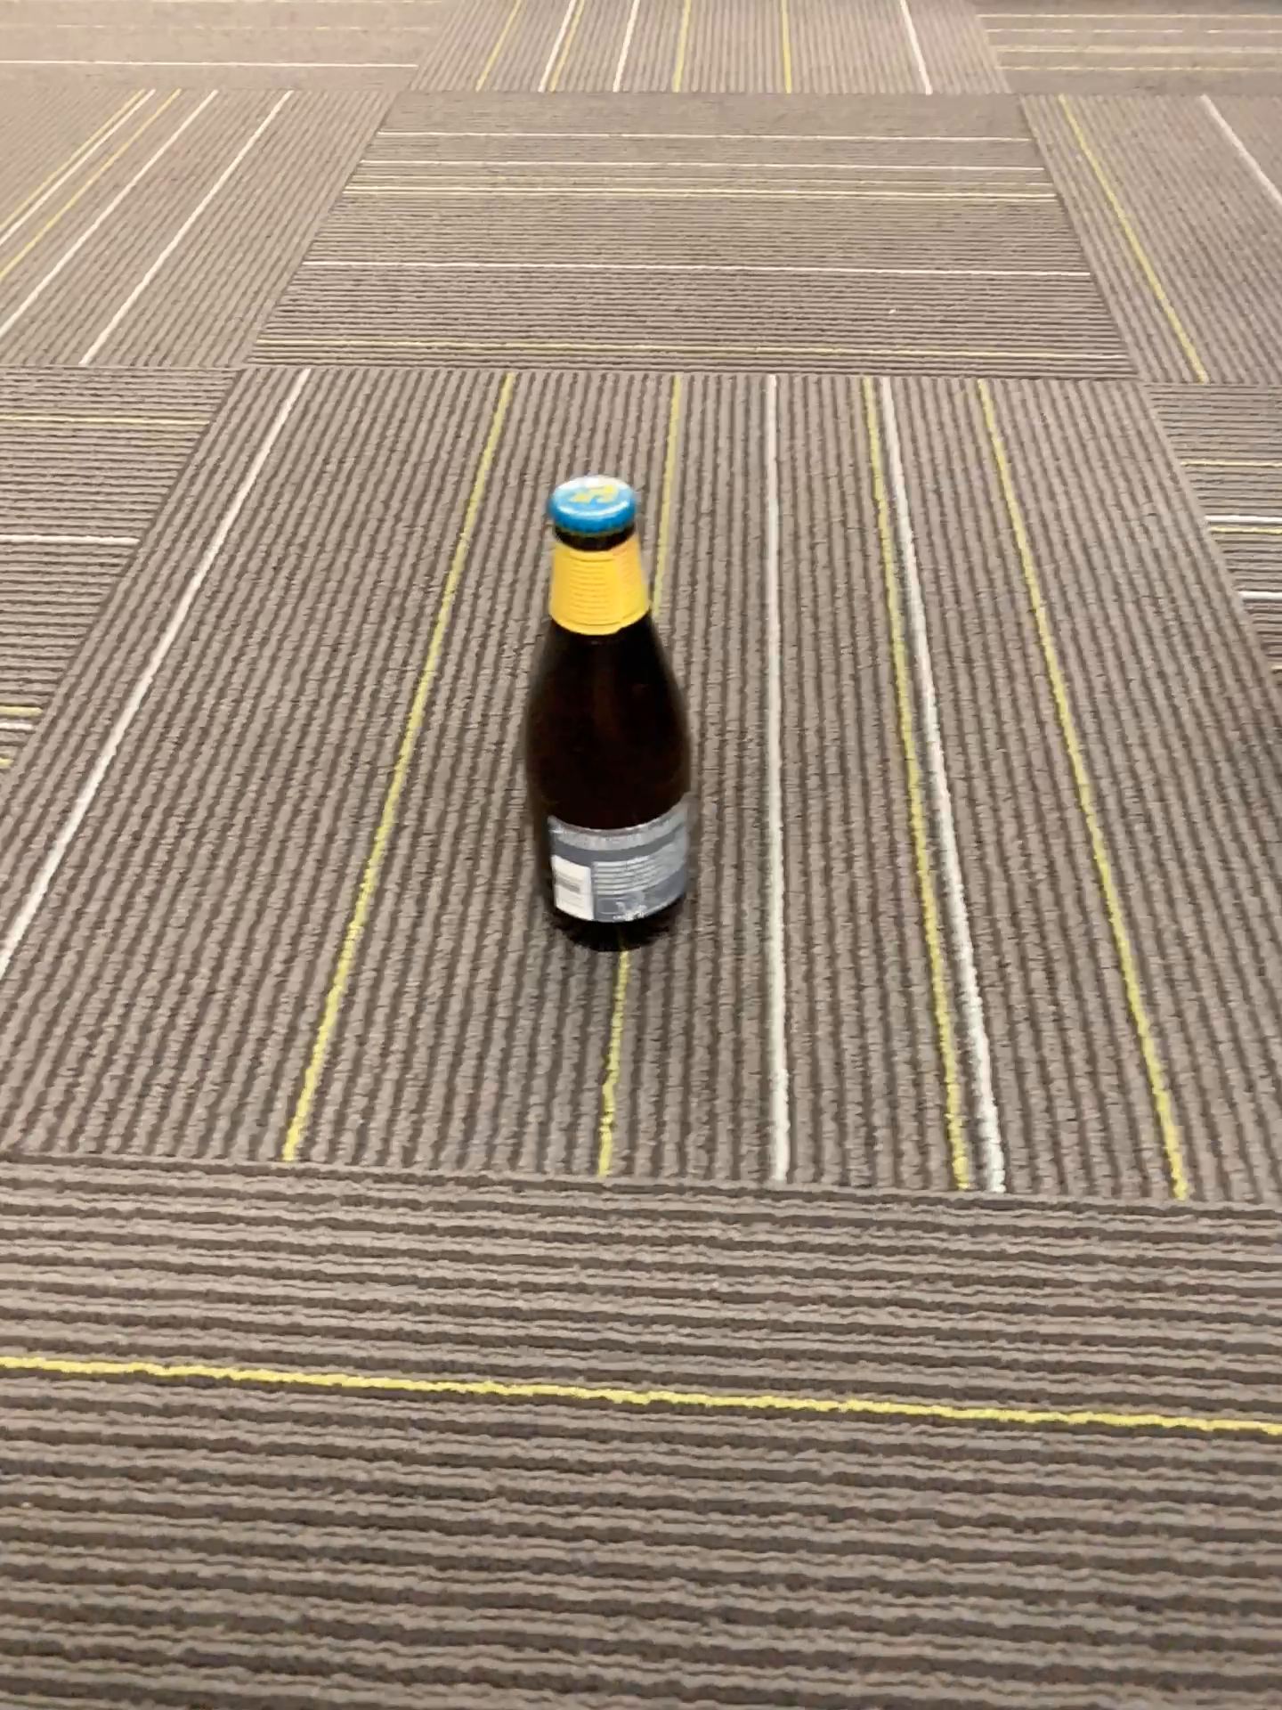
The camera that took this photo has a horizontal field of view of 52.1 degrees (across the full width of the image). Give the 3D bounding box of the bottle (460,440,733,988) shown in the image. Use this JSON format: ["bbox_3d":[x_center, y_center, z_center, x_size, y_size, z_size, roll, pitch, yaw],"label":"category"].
[{"bbox_3d":[-0.013,-0.042,0.461,0.060,0.179,0.060,0,46,0],"label":"bottle"}]
